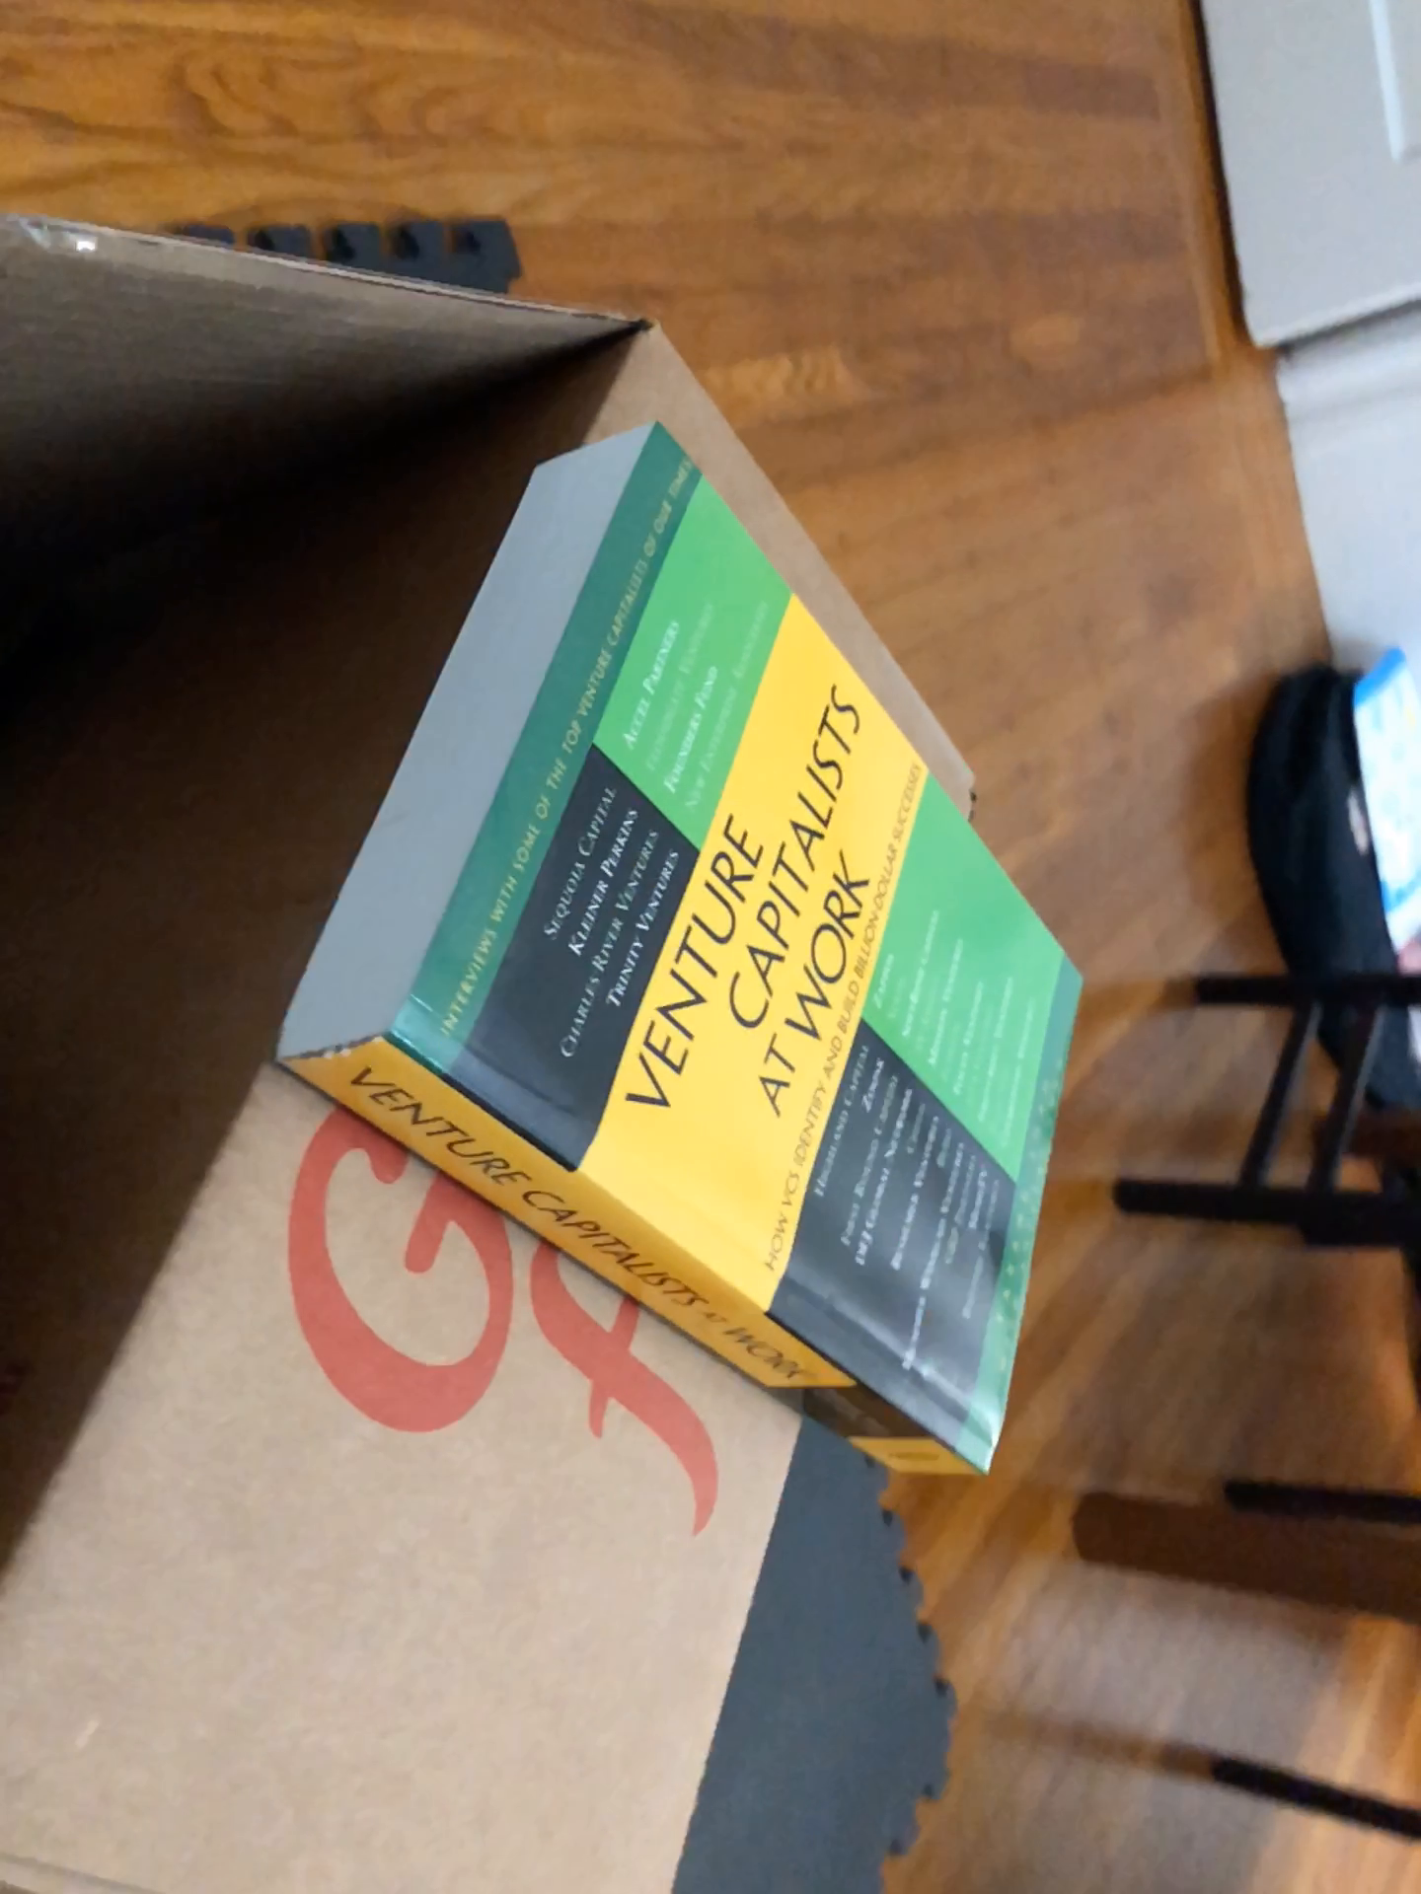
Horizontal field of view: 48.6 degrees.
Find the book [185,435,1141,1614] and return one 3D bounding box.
[{"bbox_3d":[0.022,0.037,0.372,0.261,0.040,0.160,45,53,-40],"label":"book"}]
